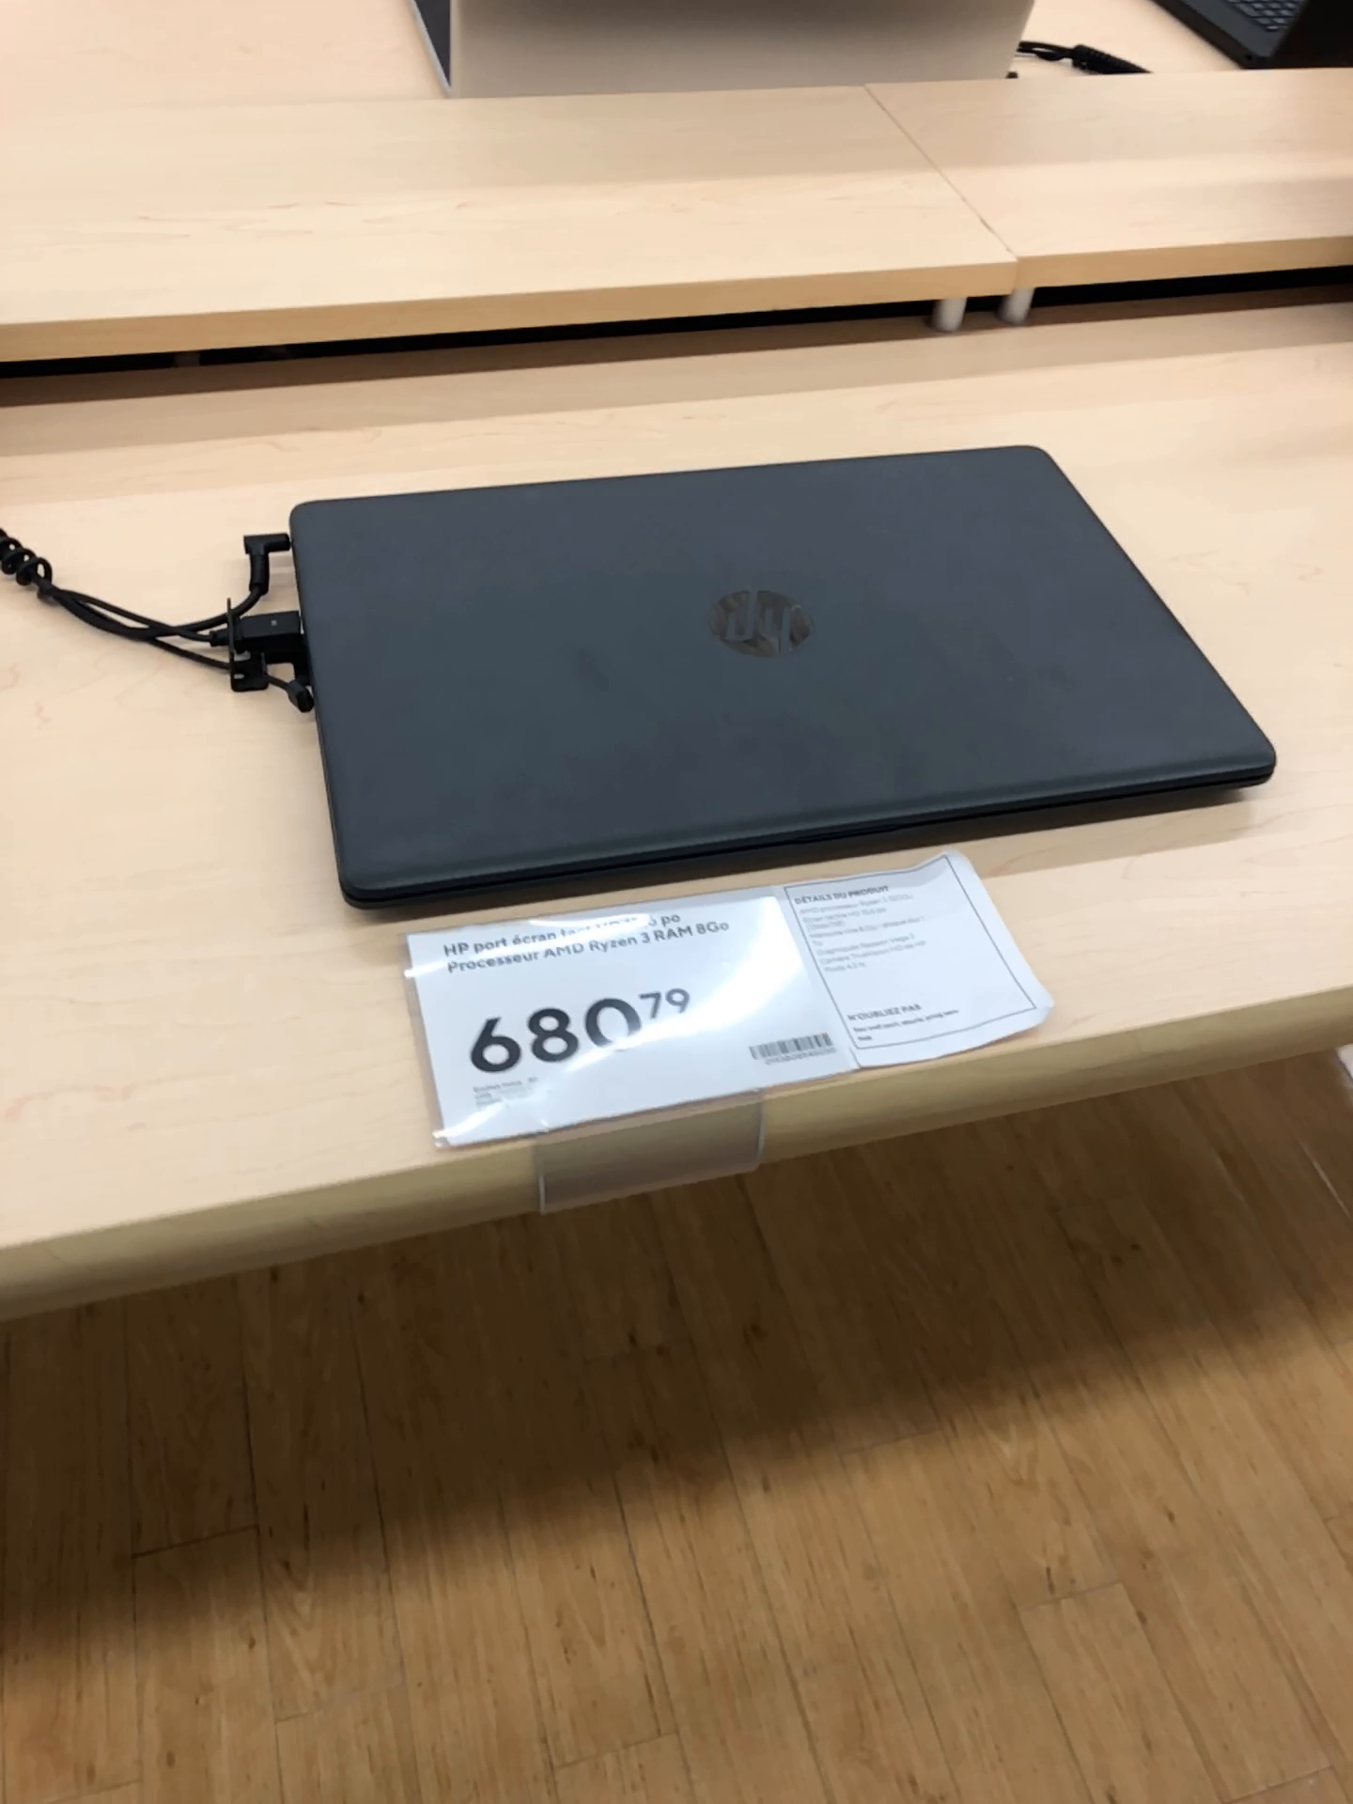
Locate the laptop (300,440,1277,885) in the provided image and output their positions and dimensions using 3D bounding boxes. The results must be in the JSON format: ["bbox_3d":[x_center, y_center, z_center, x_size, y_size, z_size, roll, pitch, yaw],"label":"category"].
[{"bbox_3d":[0.037,-0.123,0.652,0.374,0.005,0.245,-9,48,-13],"label":"laptop"}]
